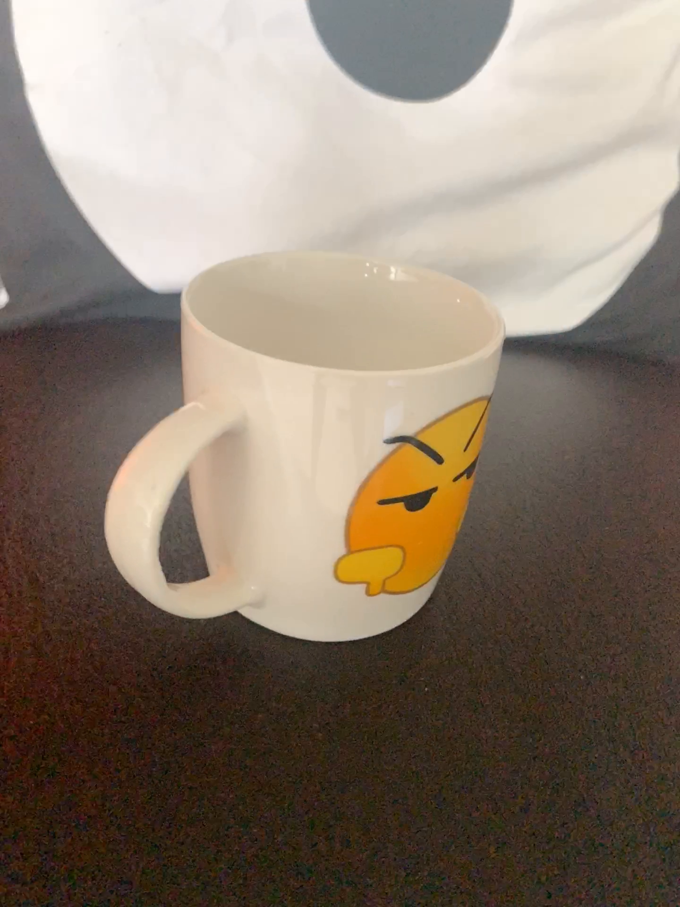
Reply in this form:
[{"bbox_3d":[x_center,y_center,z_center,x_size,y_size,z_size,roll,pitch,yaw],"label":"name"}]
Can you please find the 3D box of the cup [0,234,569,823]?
[{"bbox_3d":[-0.014,0.006,0.200,0.080,0.099,0.121,30,38,34],"label":"cup"}]
